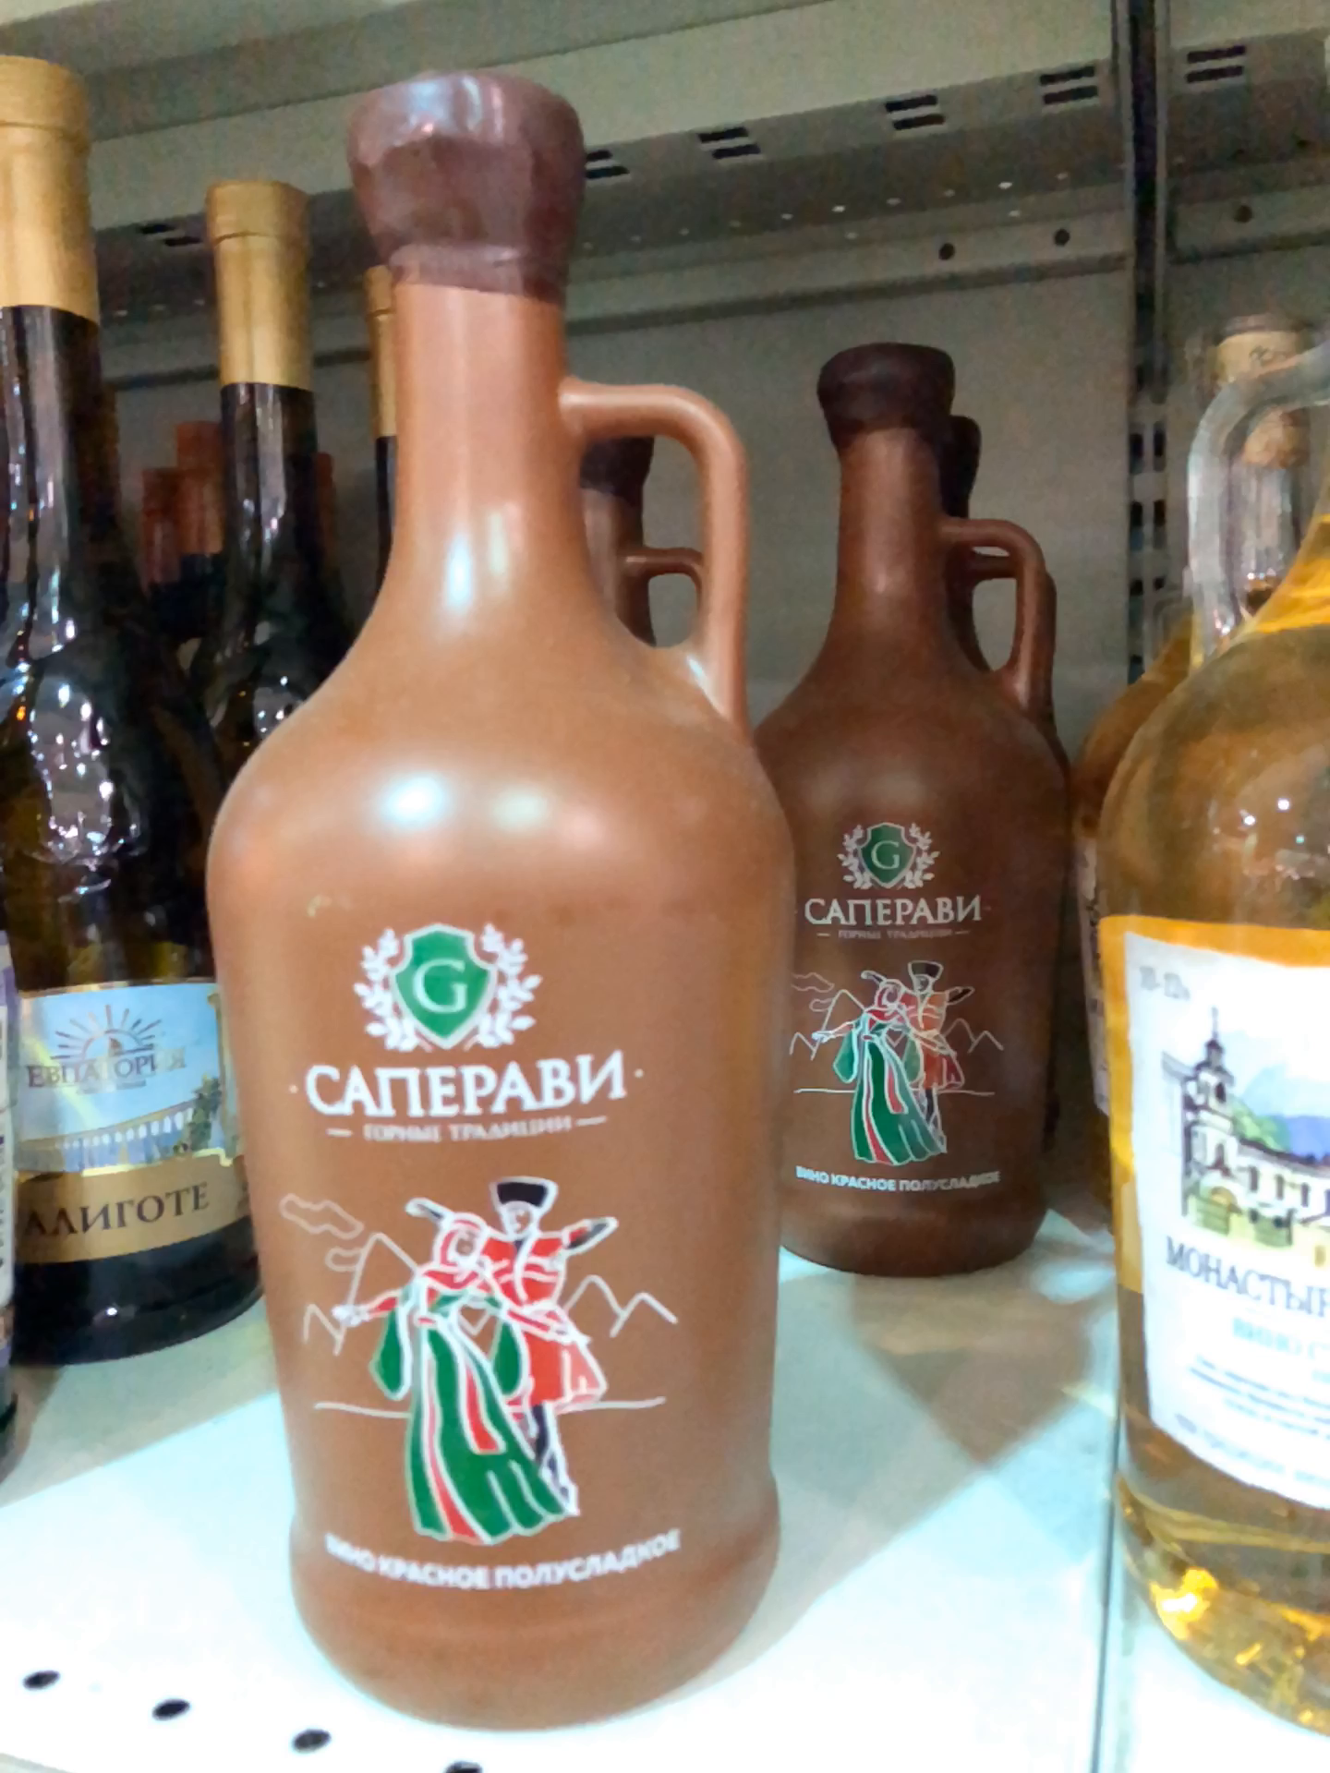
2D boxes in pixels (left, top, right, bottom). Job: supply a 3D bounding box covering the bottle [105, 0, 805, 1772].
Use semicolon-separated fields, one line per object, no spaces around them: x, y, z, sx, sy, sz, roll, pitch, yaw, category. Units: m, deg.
-0.024;0.000;0.249;0.090;0.250;0.090;-2;4;0;bottle
